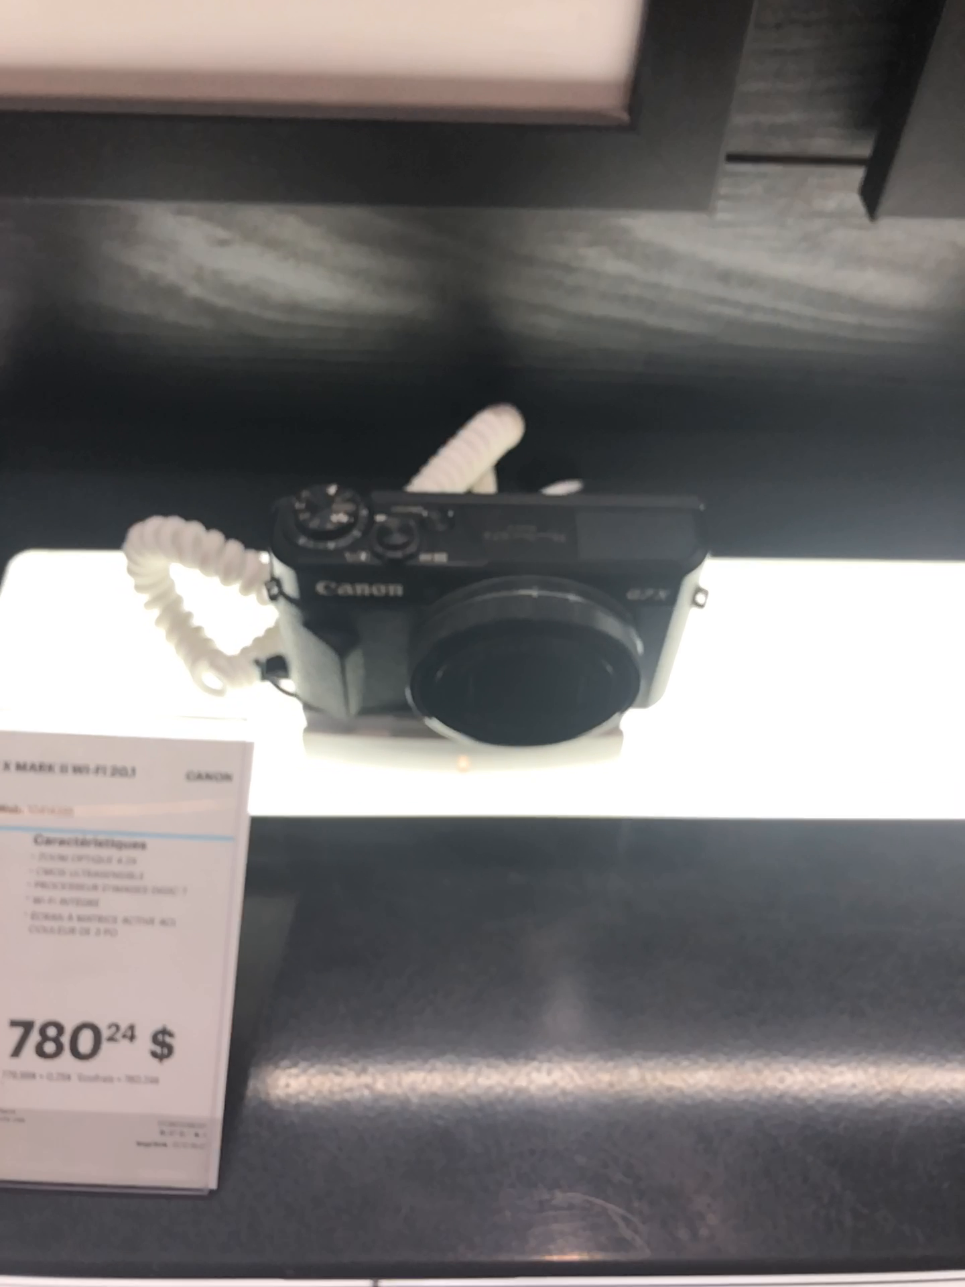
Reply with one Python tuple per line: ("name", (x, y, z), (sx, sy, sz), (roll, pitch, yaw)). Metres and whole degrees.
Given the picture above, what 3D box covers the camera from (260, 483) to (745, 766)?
("camera", (0.004, -0.003, 0.258), (0.100, 0.056, 0.038), (1, 50, -1))
